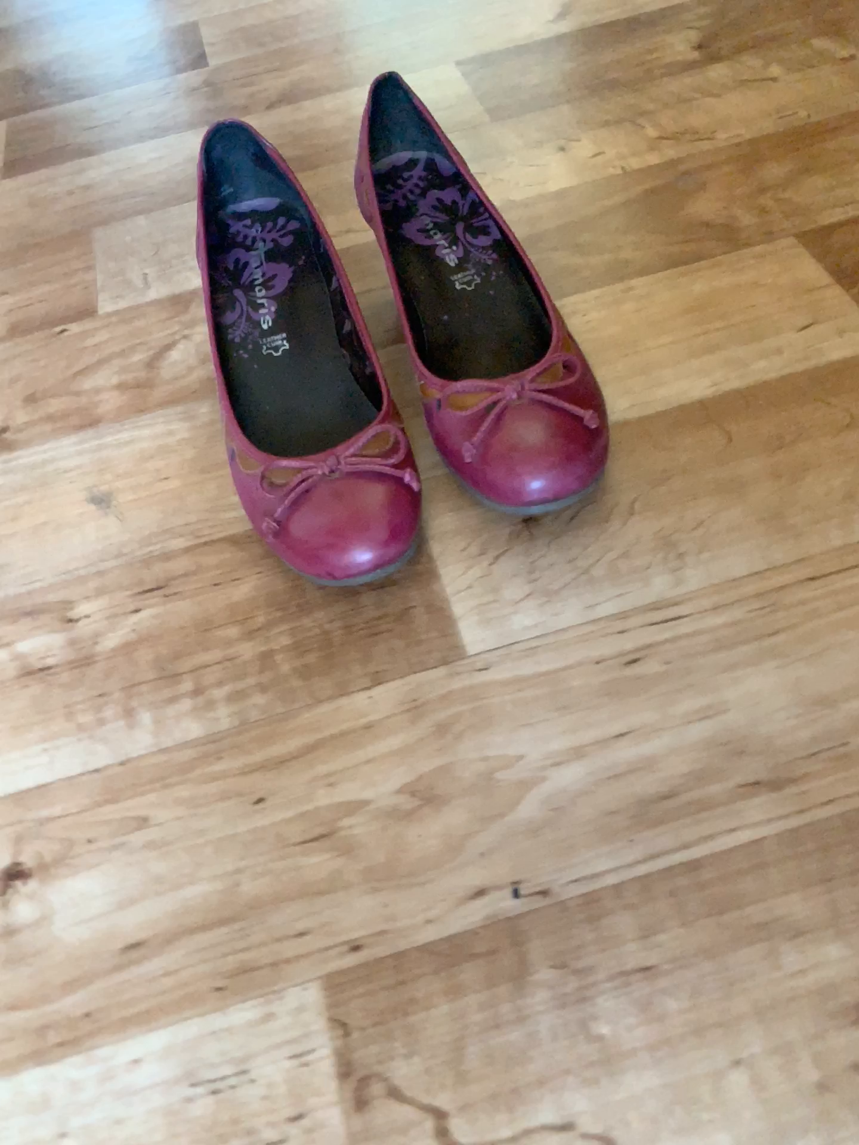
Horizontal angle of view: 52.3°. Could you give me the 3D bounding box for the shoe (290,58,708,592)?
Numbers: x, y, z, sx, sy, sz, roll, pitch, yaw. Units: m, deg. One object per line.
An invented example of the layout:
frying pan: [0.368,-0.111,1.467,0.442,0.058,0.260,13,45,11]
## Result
shoe: [0.020,-0.127,0.413,0.090,0.110,0.241,-20,53,-6]

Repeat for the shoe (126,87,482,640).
shoe: [-0.063,-0.107,0.405,0.090,0.110,0.241,-19,53,-5]
